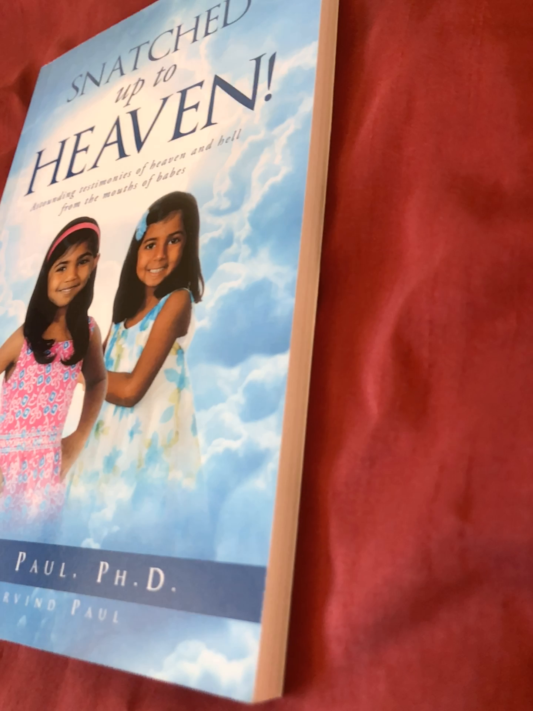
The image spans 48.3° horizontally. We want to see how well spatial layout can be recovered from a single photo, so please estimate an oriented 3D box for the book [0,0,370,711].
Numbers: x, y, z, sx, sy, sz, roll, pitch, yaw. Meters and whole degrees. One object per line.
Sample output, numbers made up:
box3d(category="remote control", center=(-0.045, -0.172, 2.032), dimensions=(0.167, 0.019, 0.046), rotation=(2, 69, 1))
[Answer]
box3d(category="book", center=(-0.042, -0.025, 0.185), dimensions=(0.140, 0.020, 0.212), rotation=(-7, 67, 33))
